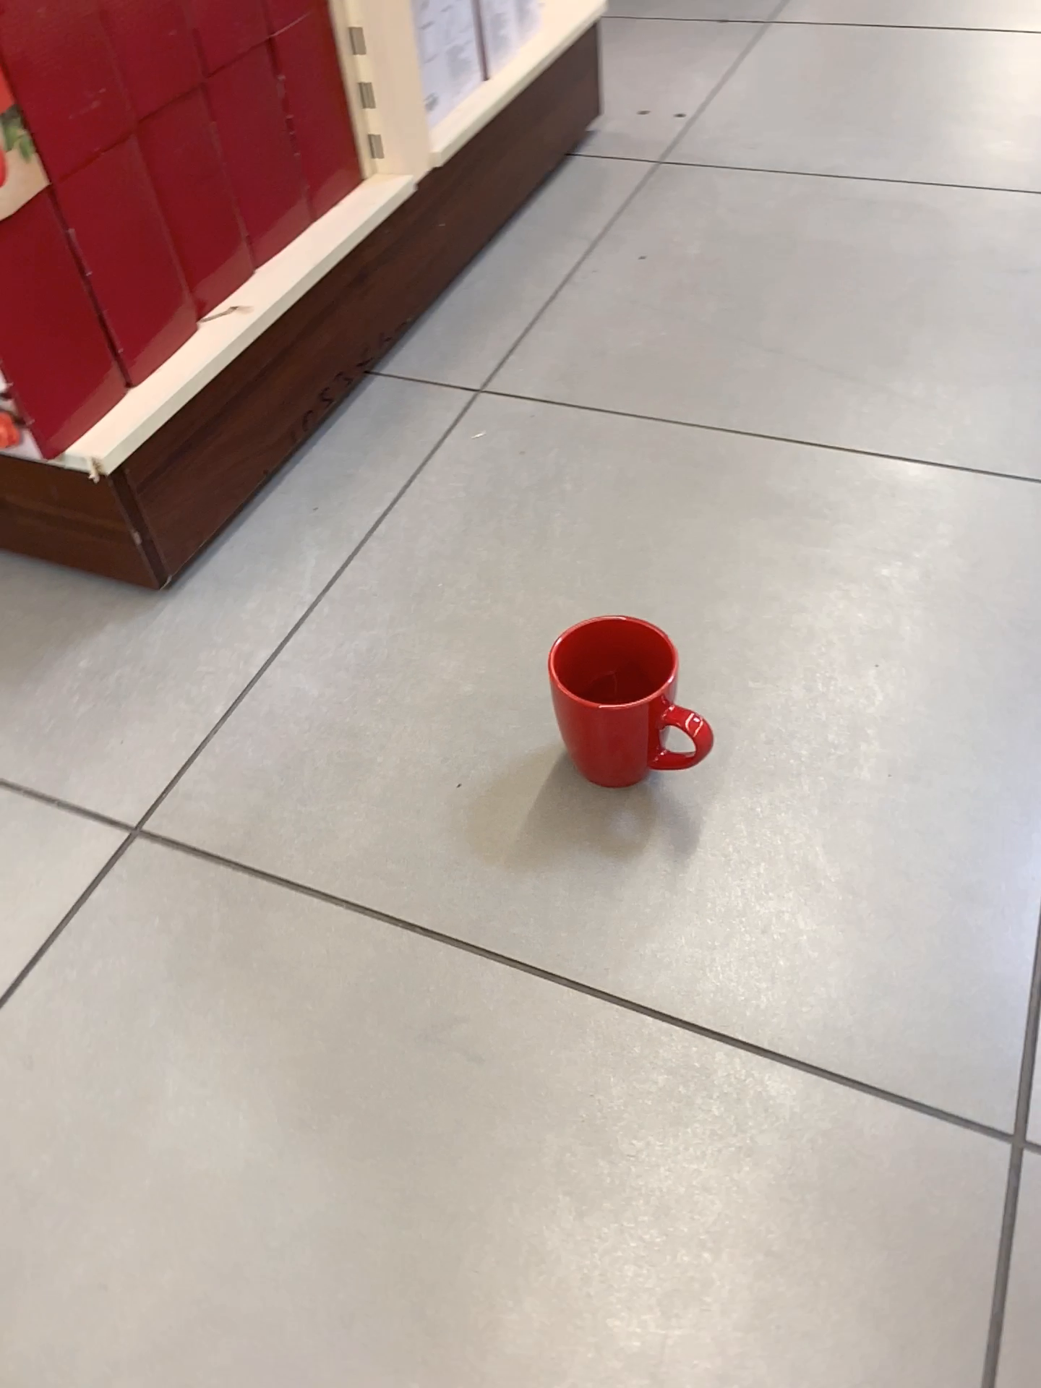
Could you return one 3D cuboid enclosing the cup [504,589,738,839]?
[{"bbox_3d":[0.067,0.011,0.714,0.120,0.090,0.090,33,58,31],"label":"cup"}]
